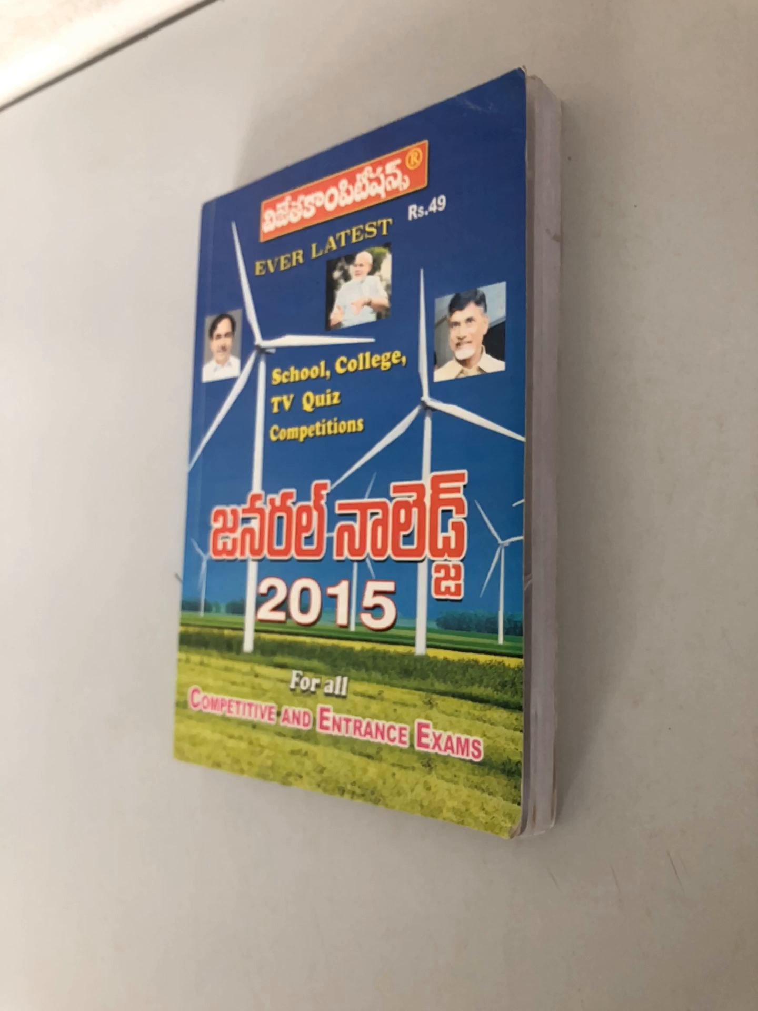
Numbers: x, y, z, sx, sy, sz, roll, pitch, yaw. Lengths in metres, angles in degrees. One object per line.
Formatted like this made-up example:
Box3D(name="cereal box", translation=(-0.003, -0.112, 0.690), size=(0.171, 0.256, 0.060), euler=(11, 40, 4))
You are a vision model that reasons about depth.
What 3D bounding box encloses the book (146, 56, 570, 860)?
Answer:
Box3D(name="book", translation=(-0.011, -0.012, 0.240), size=(0.129, 0.022, 0.182), euler=(-3, 82, 39))
